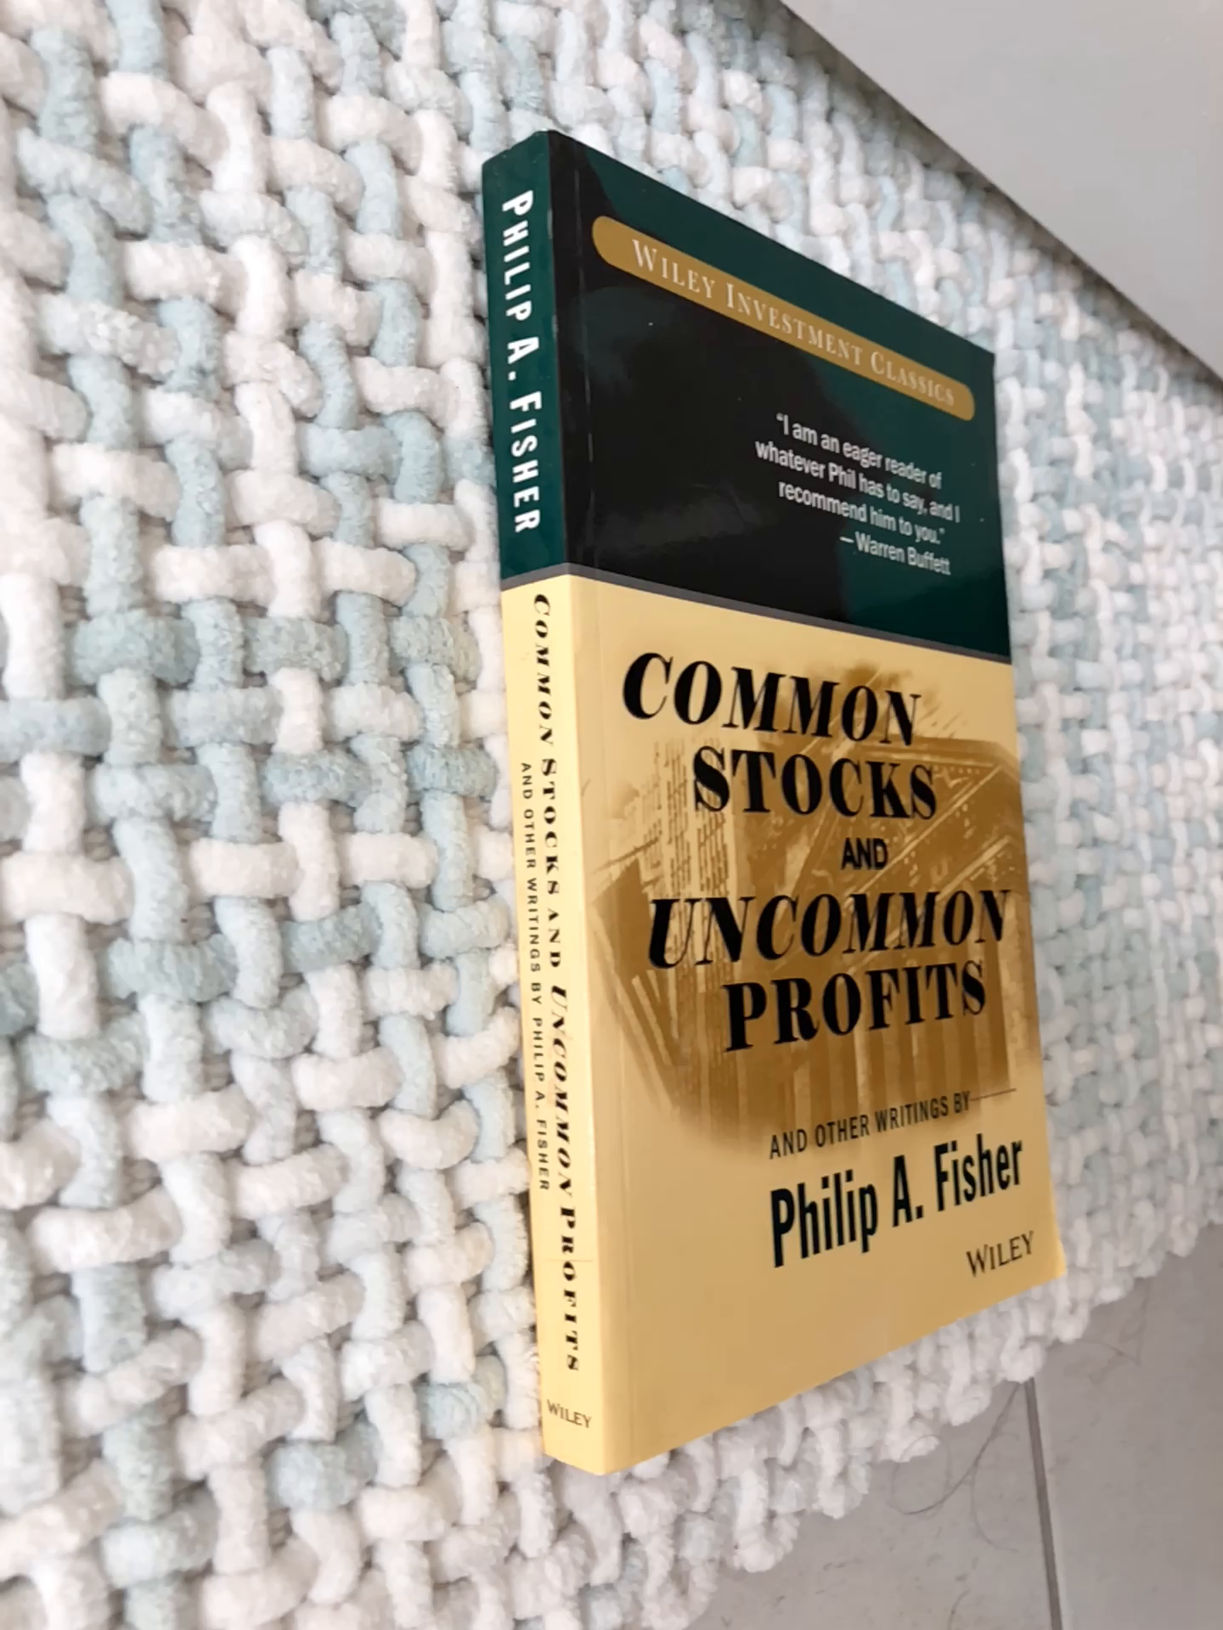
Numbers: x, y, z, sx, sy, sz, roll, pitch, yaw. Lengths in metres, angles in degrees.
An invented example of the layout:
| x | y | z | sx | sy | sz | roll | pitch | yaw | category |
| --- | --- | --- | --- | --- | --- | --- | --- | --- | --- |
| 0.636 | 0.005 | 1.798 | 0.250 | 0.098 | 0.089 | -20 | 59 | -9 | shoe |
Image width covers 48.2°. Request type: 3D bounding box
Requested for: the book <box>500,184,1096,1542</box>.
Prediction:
| x | y | z | sx | sy | sz | roll | pitch | yaw | category |
| --- | --- | --- | --- | --- | --- | --- | --- | --- | --- |
| 0.052 | 0.007 | 0.316 | 0.167 | 0.026 | 0.247 | 1 | 84 | -45 | book |
